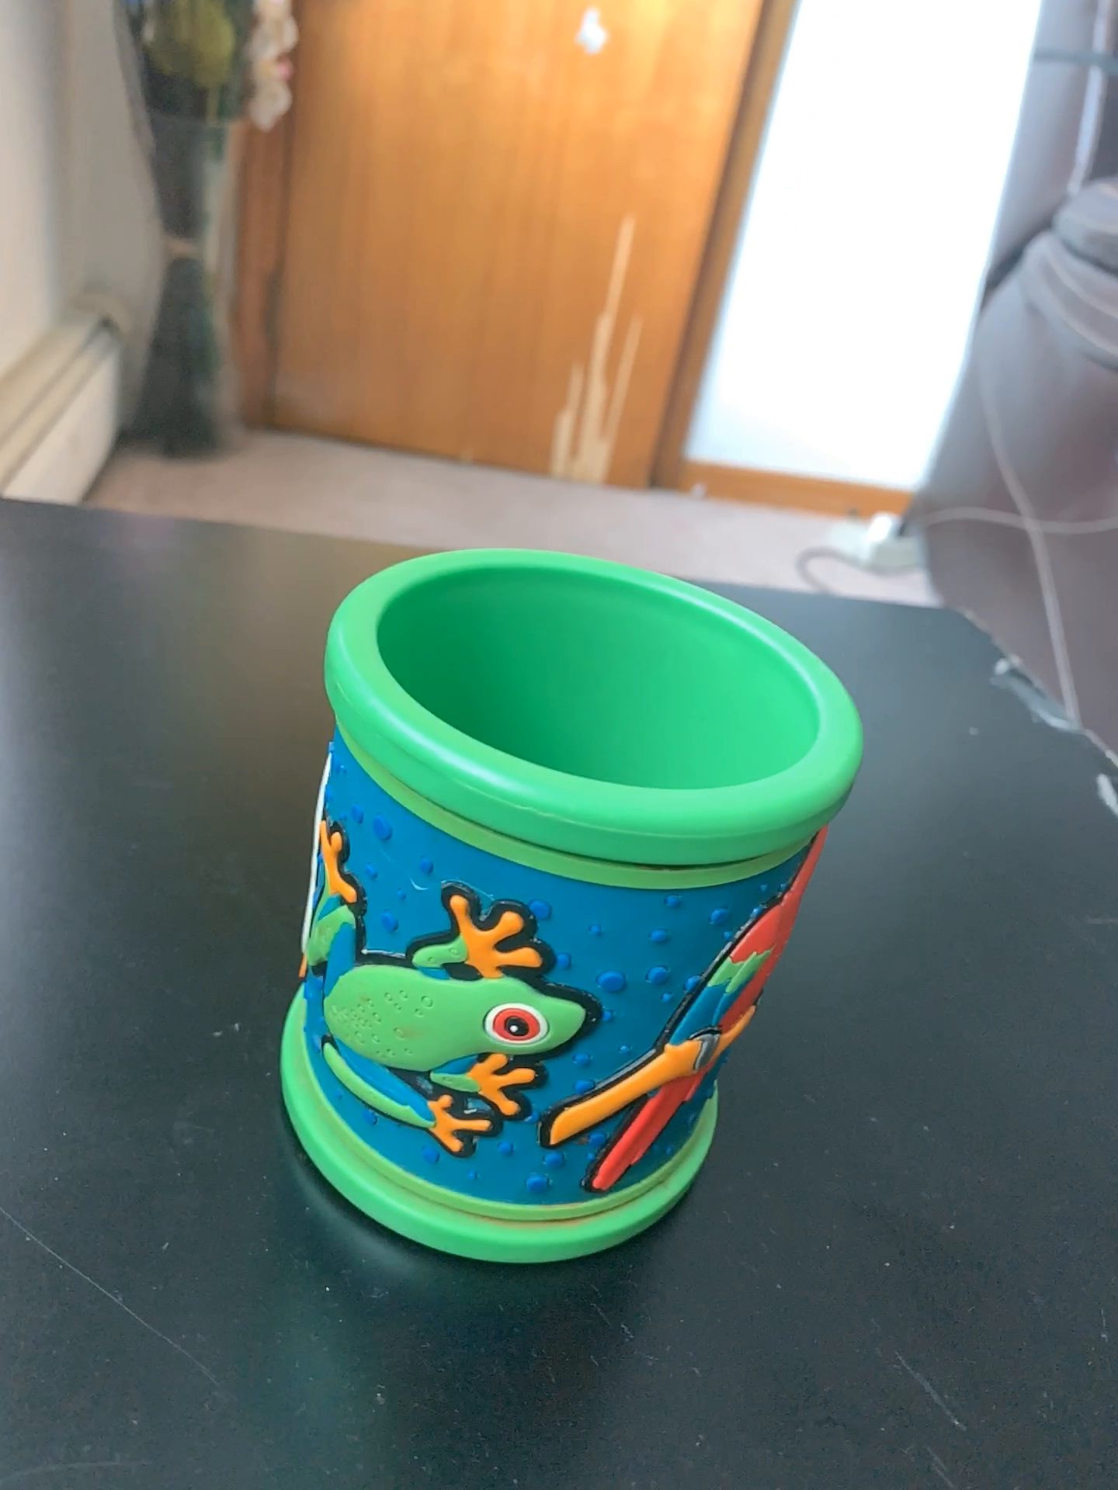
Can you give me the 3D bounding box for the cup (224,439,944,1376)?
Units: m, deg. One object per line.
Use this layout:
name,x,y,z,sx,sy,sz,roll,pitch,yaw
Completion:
cup,0.003,0.018,0.212,0.080,0.099,0.121,13,30,0
